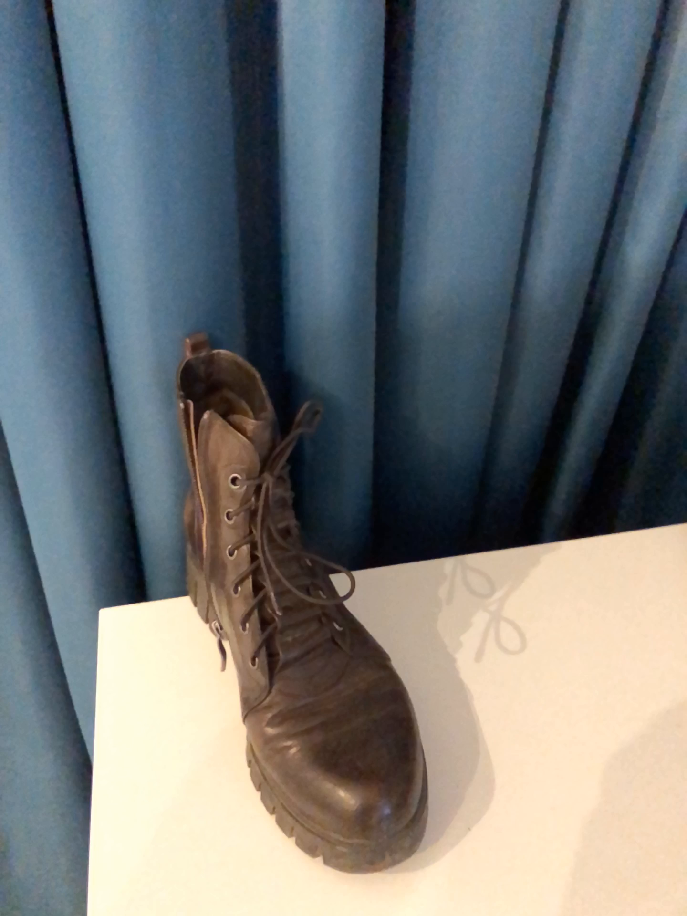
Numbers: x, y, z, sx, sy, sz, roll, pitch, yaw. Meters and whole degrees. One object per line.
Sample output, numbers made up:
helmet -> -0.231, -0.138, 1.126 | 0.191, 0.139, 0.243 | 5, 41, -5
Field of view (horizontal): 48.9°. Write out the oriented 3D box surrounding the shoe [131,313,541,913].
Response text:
shoe -> -0.028, 0.055, 0.417 | 0.100, 0.169, 0.272 | -13, 35, -21
